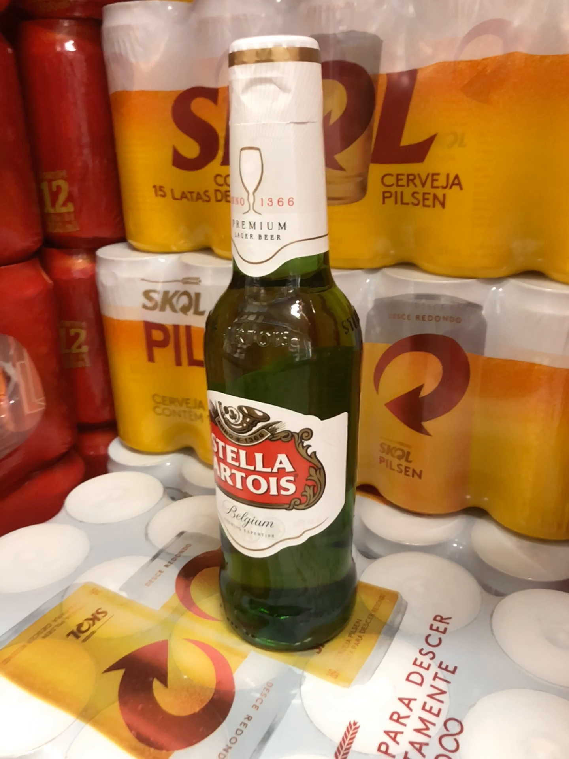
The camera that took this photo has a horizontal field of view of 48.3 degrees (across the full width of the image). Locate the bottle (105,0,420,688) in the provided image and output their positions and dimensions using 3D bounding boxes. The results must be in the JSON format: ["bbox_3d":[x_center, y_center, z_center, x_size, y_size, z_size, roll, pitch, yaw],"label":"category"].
[{"bbox_3d":[0.002,-0.007,0.224,0.070,0.218,0.060,9,26,26],"label":"bottle"}]
